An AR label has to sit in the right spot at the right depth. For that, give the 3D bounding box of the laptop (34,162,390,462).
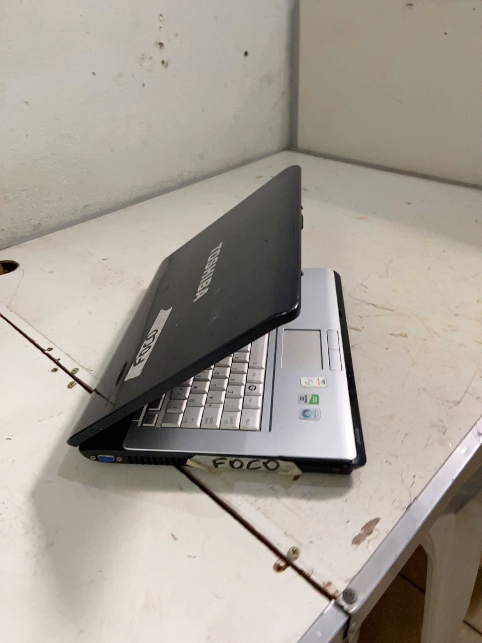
[{"bbox_3d":[-0.007,-0.044,0.538,0.257,0.152,0.348,1,34,6],"label":"laptop"}]
